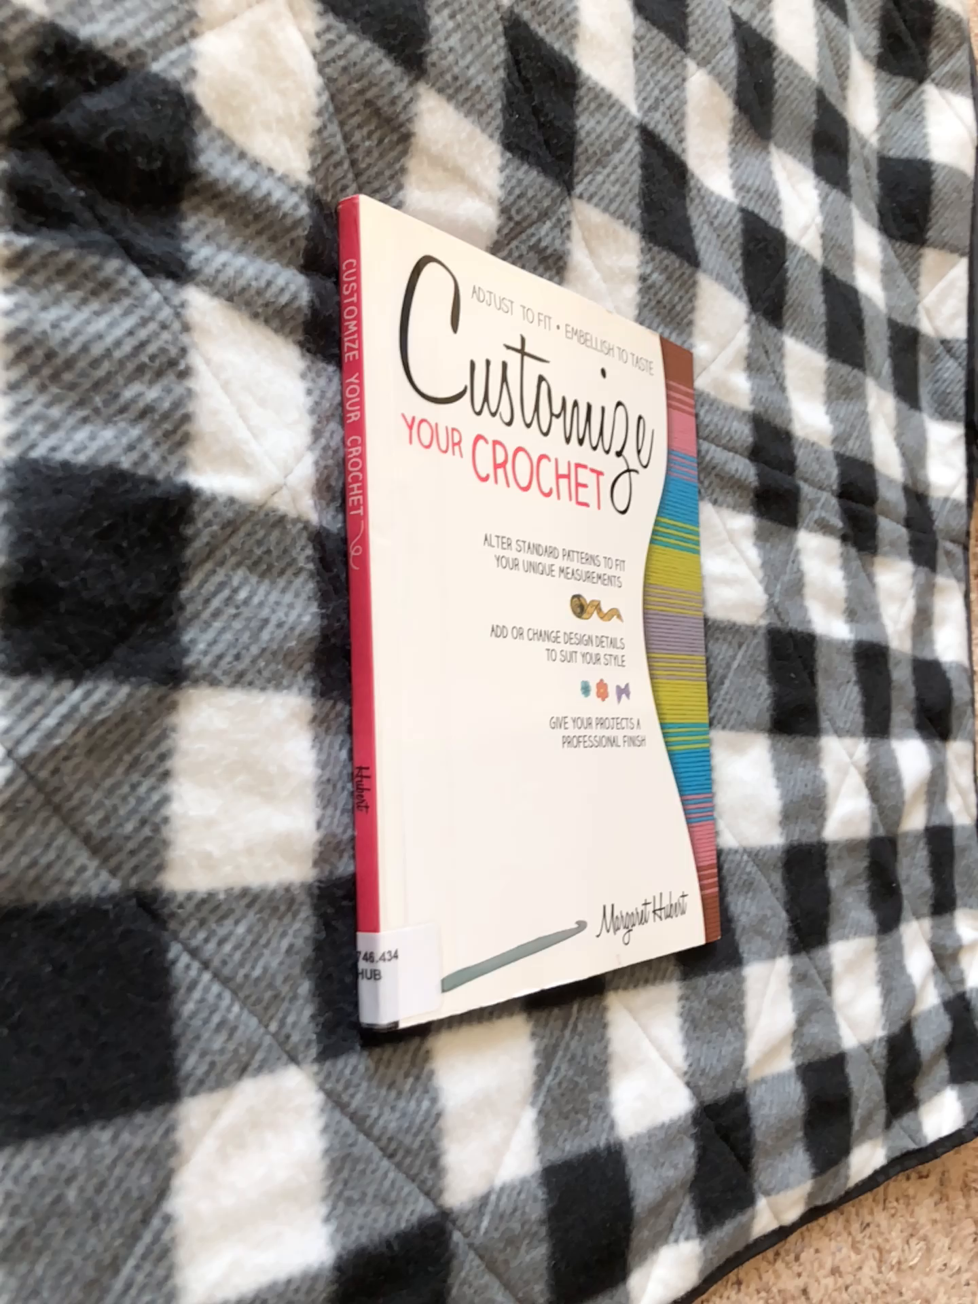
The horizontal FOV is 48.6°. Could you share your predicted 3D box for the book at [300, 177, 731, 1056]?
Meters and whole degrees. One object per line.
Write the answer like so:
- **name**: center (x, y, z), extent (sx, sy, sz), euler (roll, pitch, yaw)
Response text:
- **book**: center (0.019, -0.008, 0.366), extent (0.187, 0.020, 0.238), euler (4, 81, -48)
